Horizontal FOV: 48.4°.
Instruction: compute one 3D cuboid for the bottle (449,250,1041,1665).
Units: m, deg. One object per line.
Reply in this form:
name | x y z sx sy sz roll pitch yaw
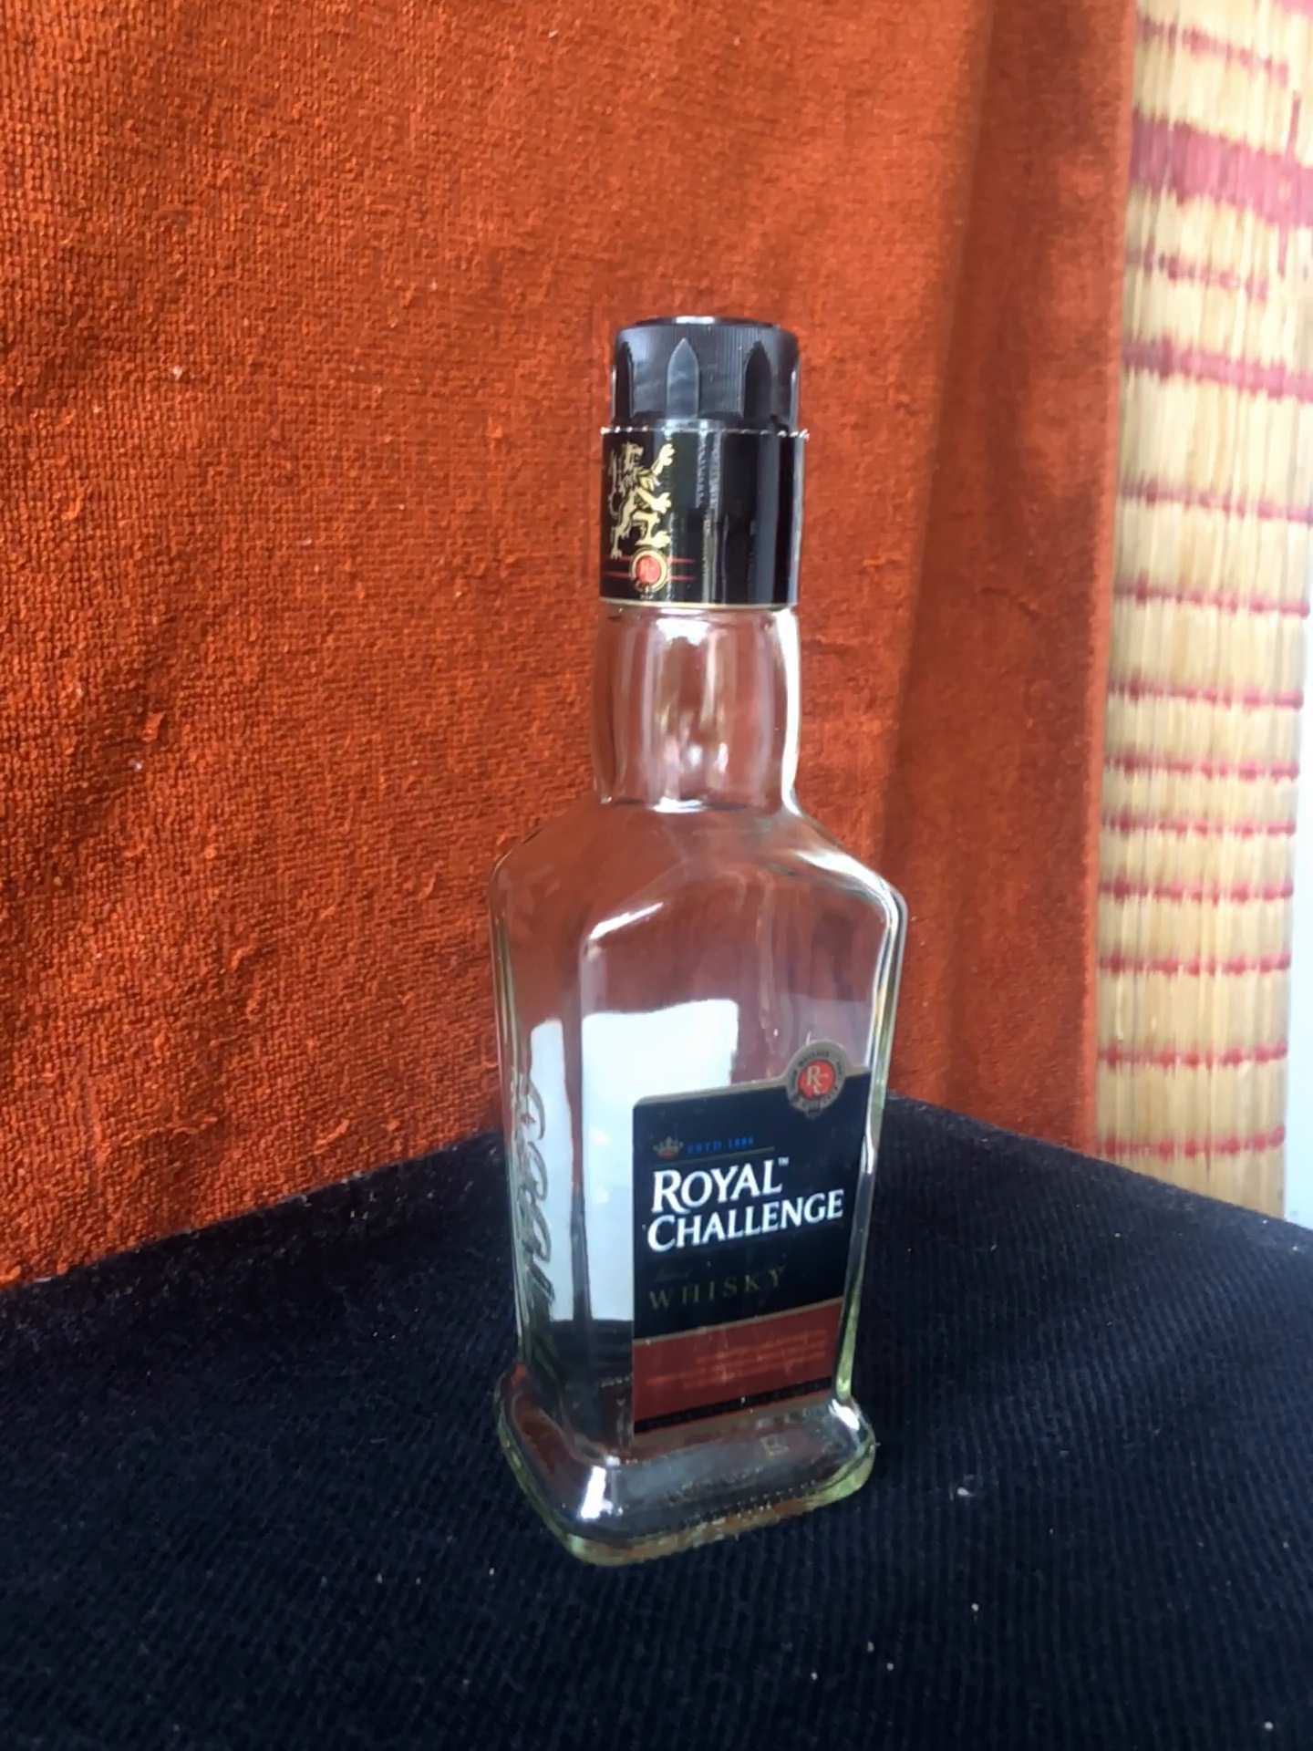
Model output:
bottle | 0.008 0.013 0.223 0.060 0.189 0.050 -3 14 -26
